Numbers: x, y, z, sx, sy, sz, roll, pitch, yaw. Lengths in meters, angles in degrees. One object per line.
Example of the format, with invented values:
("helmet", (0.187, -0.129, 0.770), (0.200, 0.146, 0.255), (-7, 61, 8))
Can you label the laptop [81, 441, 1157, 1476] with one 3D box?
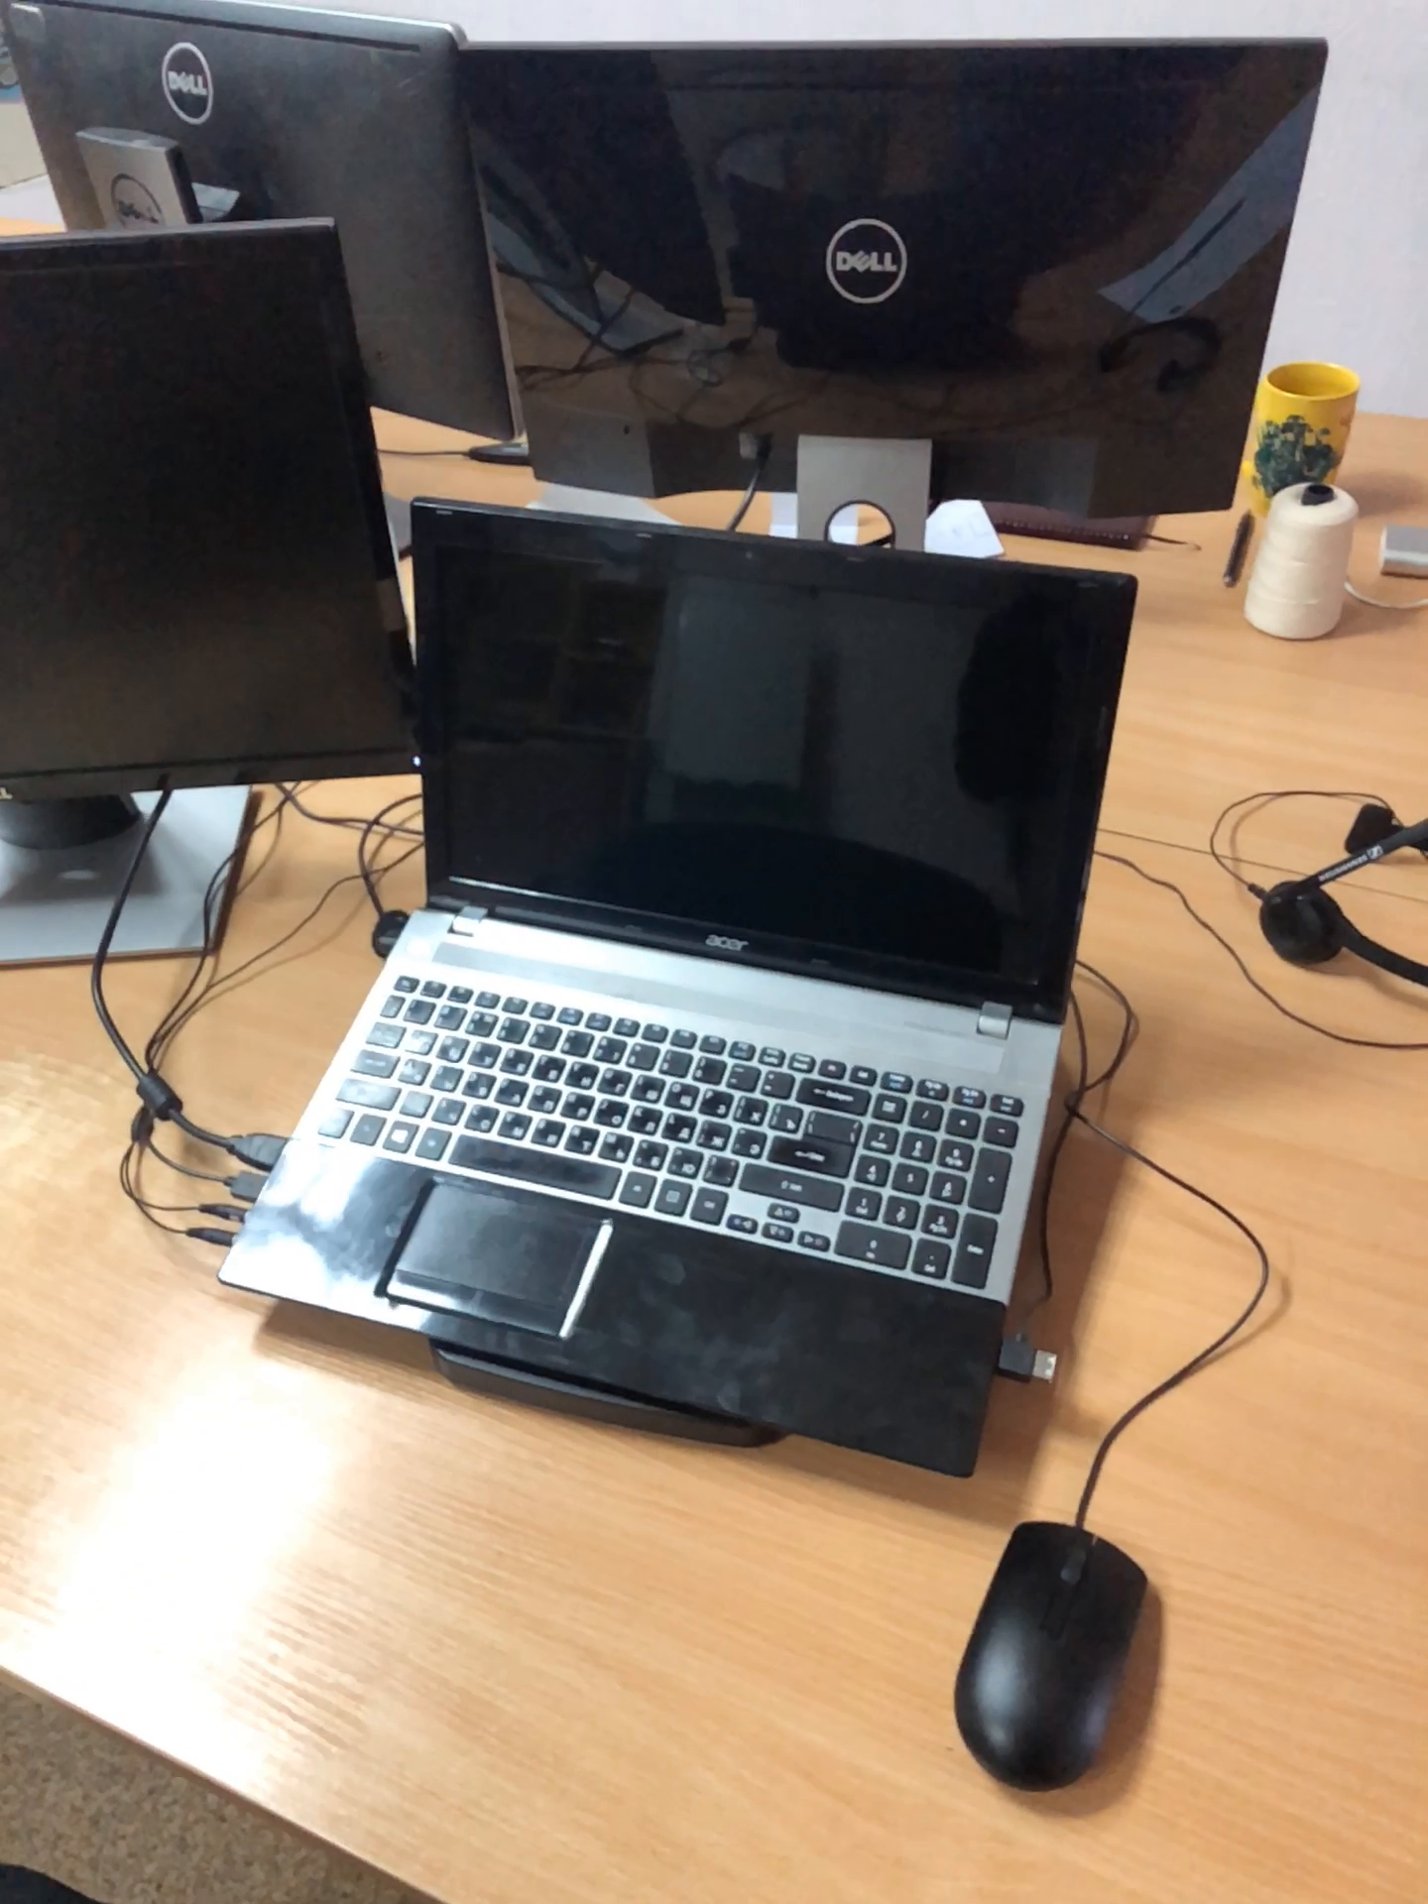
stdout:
("laptop", (-0.018, -0.023, 0.749), (0.370, 0.215, 0.353), (10, 50, 15))
